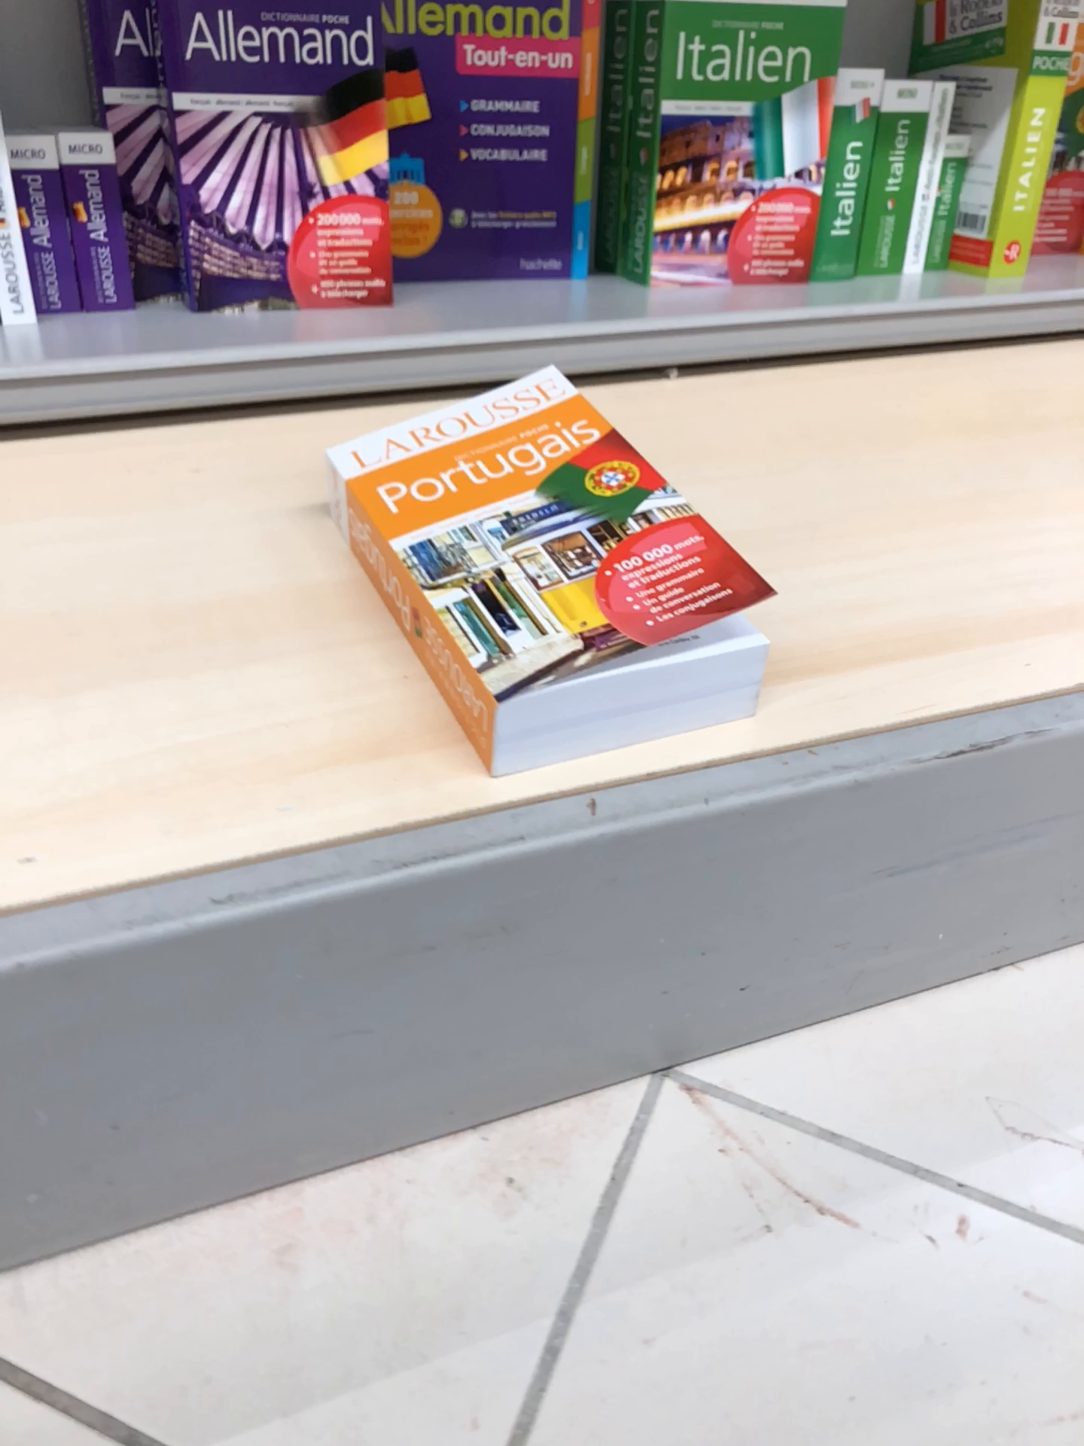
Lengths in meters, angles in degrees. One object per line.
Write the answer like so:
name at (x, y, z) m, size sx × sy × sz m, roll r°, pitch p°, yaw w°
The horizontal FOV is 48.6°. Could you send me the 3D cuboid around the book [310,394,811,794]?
book at (-0.003, -0.062, 0.463) m, size 0.118 × 0.046 × 0.186 m, roll -13°, pitch 43°, yaw -24°
